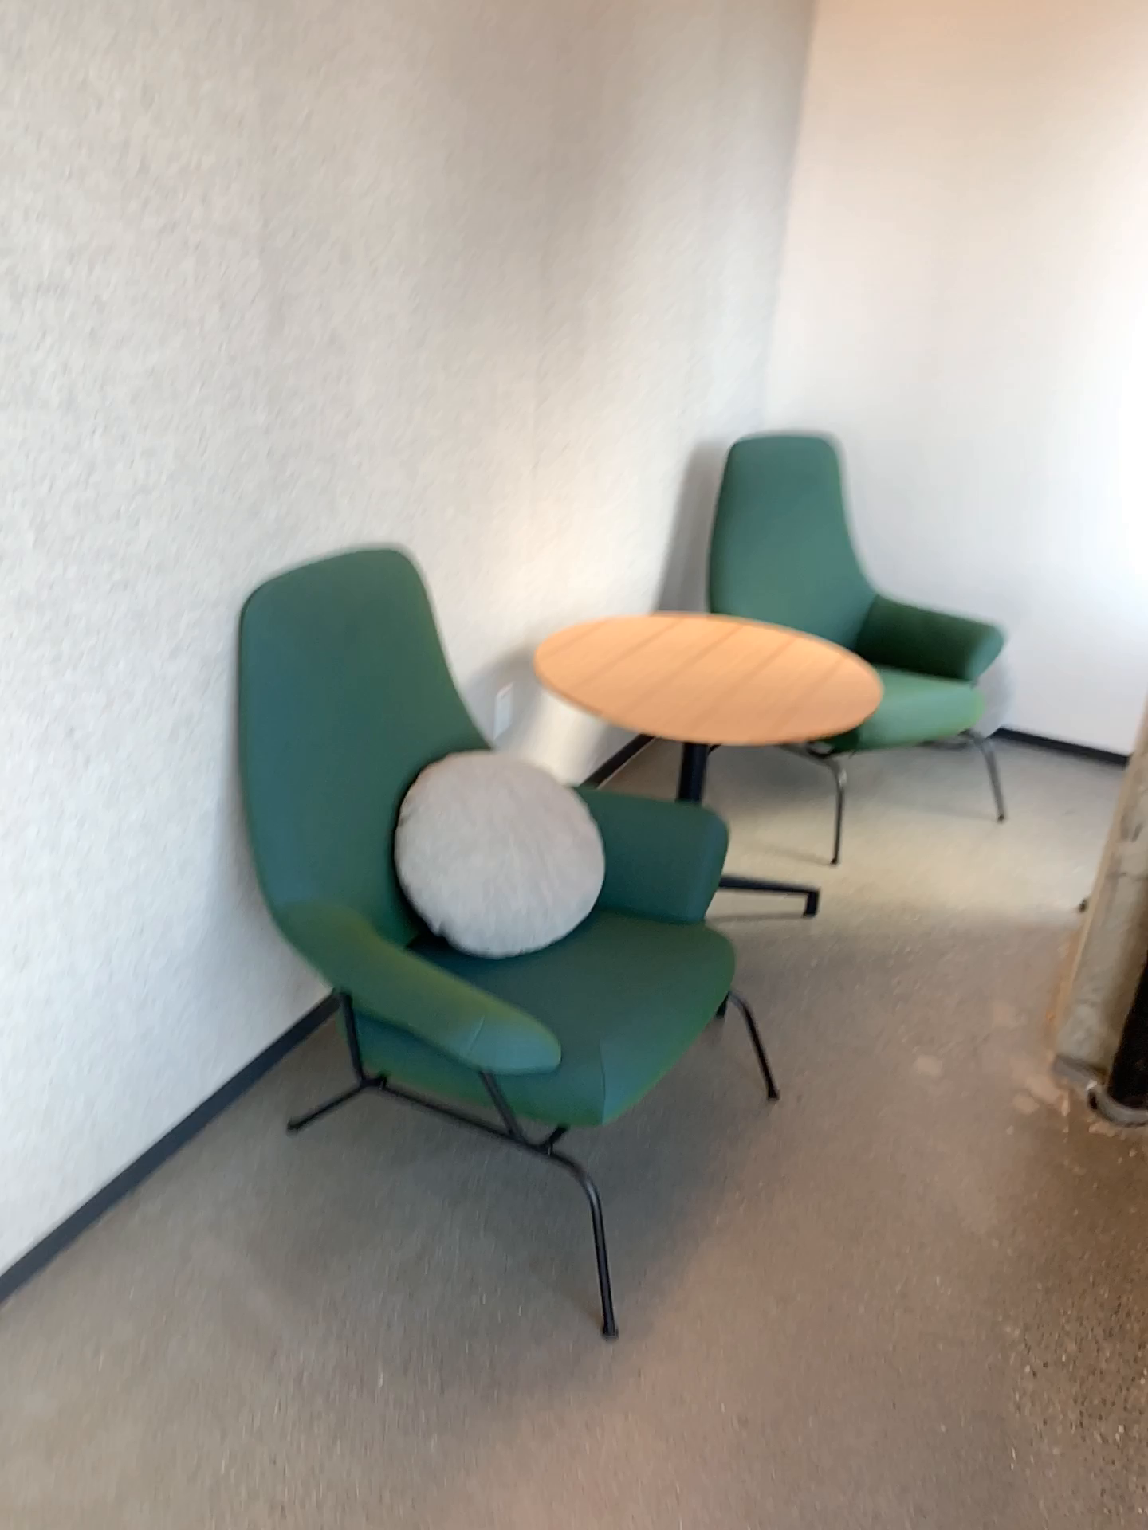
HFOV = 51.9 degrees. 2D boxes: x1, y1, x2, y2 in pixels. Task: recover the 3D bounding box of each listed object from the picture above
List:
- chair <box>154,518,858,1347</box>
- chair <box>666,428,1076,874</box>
[{"bbox_3d":[-0.101,0.193,2.044,0.842,0.995,0.722,16,27,27],"label":"chair"},{"bbox_3d":[0.787,-0.371,3.358,0.650,1.015,0.754,-10,27,-29],"label":"chair"}]
